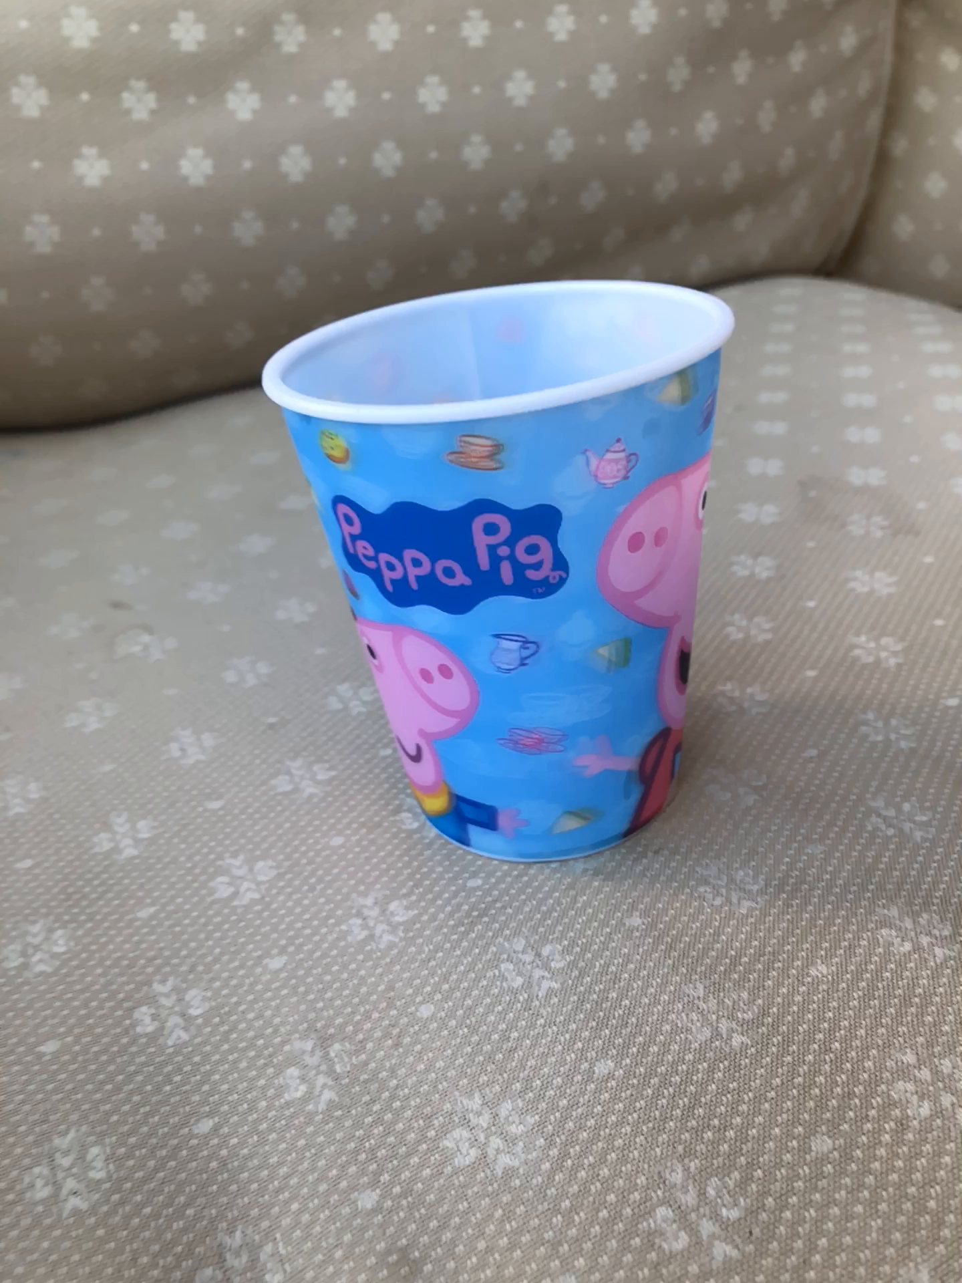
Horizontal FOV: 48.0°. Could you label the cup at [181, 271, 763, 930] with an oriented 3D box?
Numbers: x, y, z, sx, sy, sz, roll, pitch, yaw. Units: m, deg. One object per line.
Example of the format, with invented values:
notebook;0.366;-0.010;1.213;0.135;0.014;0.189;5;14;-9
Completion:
cup;0.007;-0.016;0.232;0.086;0.101;0.092;-2;30;1
